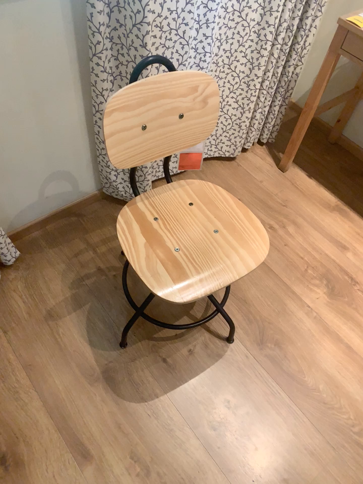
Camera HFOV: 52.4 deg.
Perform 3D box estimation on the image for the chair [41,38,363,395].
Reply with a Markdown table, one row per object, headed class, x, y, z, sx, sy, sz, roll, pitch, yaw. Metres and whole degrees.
| class | x | y | z | sx | sy | sz | roll | pitch | yaw |
| --- | --- | --- | --- | --- | --- | --- | --- | --- | --- |
| chair | 0.027 | -0.066 | 1.023 | 0.491 | 0.598 | 0.631 | -24 | 61 | -22 |
